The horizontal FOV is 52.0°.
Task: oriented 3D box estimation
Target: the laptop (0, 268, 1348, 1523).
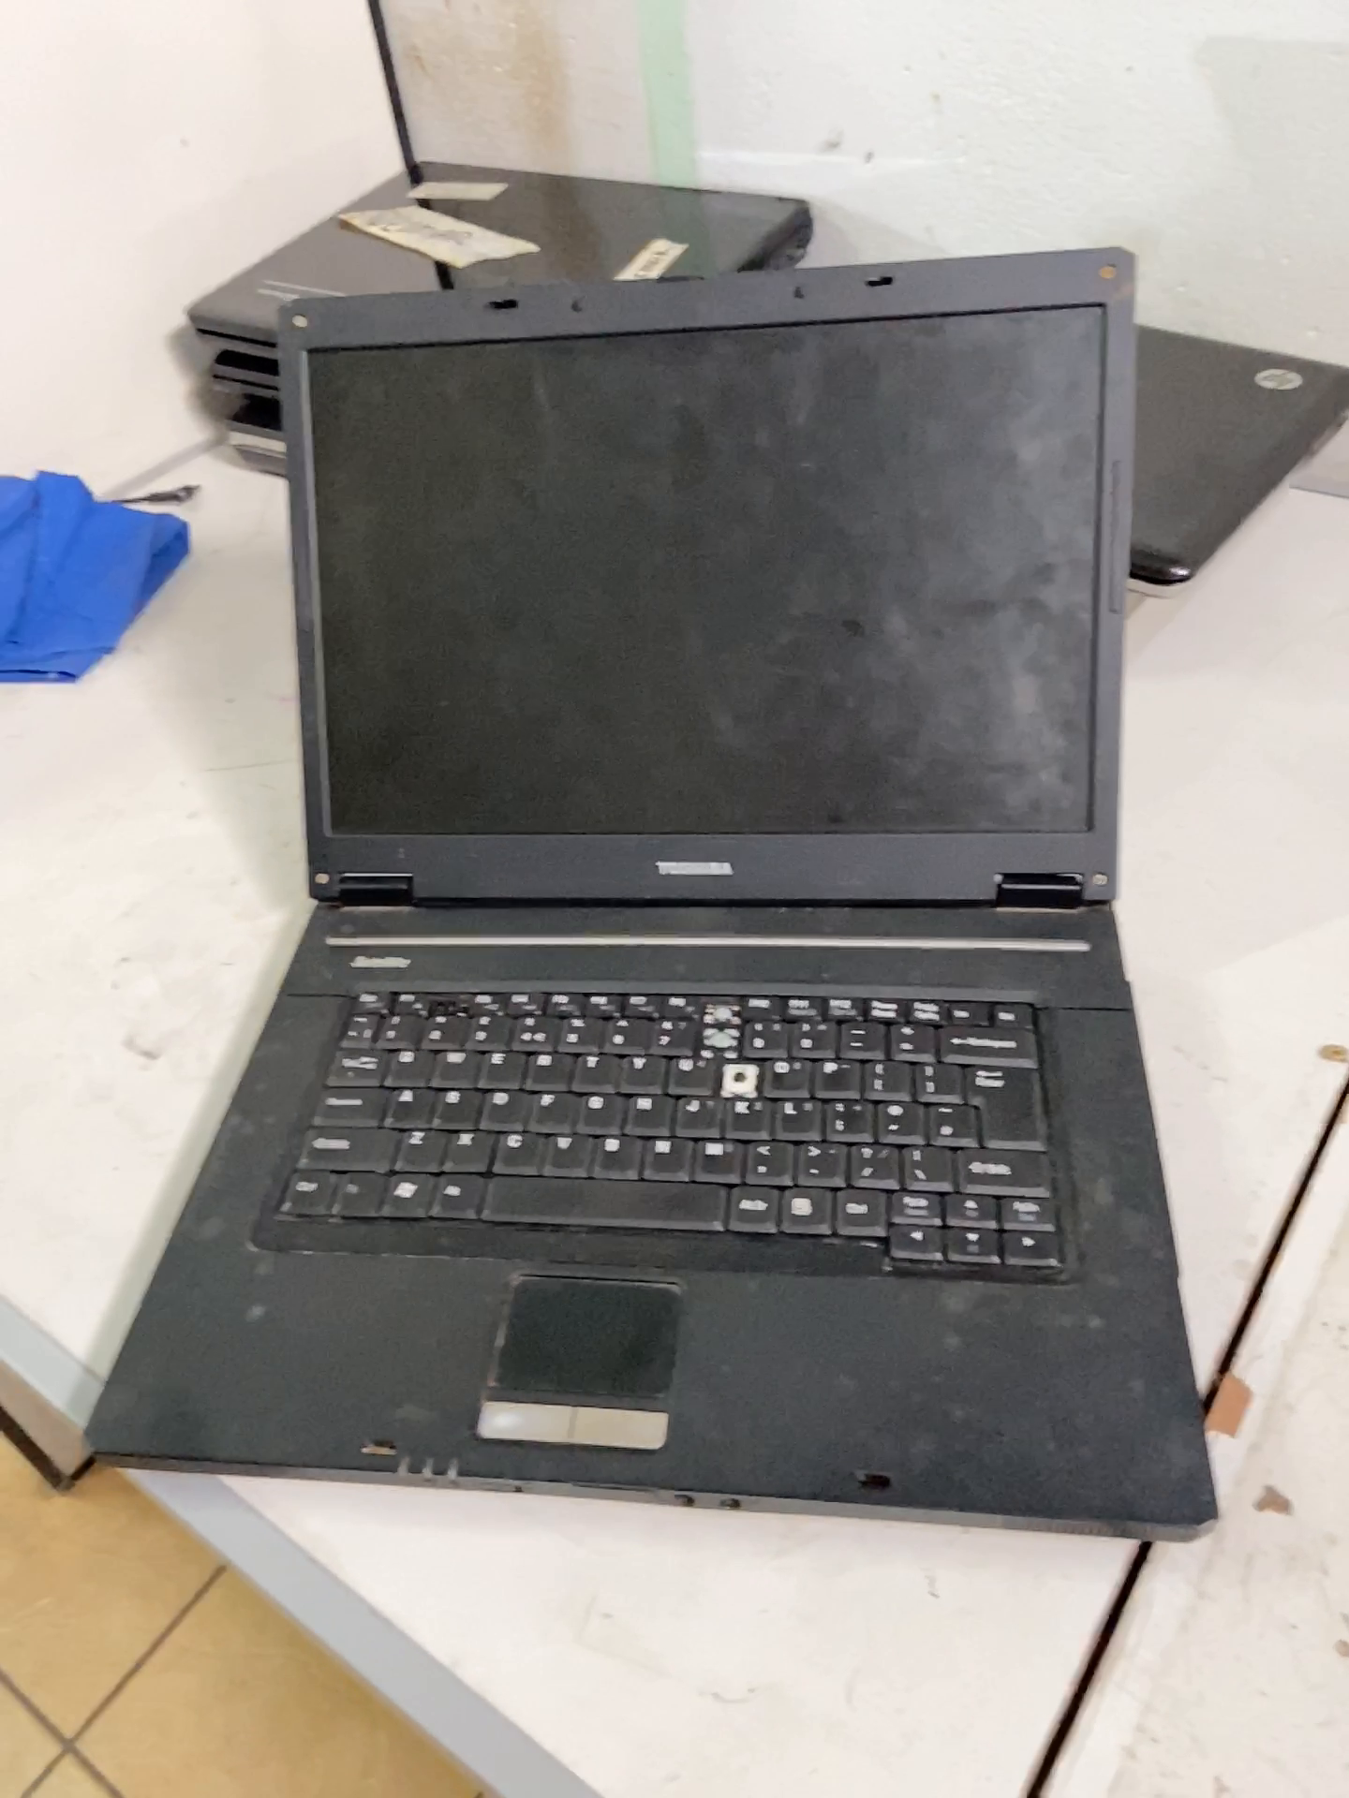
[{"bbox_3d":[-0.004,-0.034,0.505,0.355,0.212,0.404,0,44,10],"label":"laptop"}]
